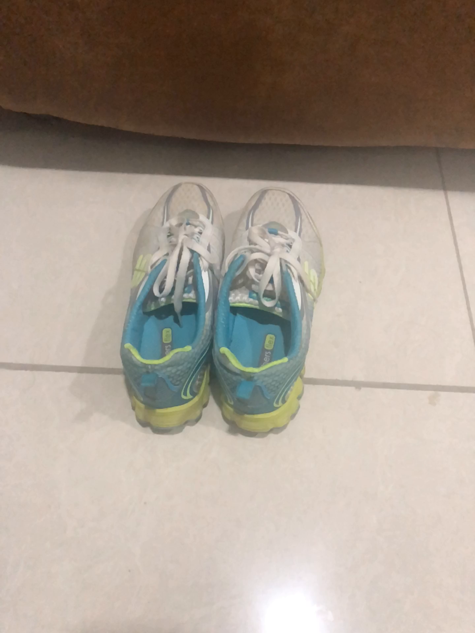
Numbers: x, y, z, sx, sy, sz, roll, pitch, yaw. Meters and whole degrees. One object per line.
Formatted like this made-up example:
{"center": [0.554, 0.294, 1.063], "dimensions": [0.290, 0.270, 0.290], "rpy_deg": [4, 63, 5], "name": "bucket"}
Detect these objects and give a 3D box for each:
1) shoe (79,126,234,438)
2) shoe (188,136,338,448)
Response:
{"center": [-0.062, -0.045, 0.517], "dimensions": [0.100, 0.100, 0.300], "rpy_deg": [2, 58, 2], "name": "shoe"}
{"center": [0.035, -0.036, 0.527], "dimensions": [0.110, 0.100, 0.300], "rpy_deg": [5, 59, 4], "name": "shoe"}
